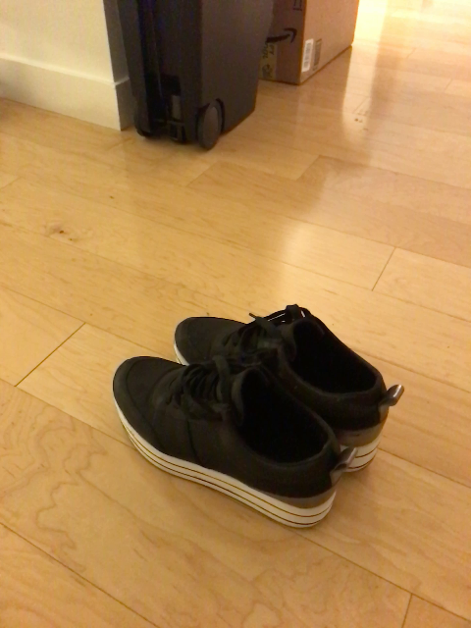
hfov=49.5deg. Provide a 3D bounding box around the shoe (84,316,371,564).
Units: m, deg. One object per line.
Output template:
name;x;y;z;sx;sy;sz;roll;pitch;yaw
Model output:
shoe;-0.013;0.113;0.505;0.250;0.099;0.101;23;46;23

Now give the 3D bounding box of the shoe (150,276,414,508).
shoe;0.041;0.073;0.555;0.250;0.099;0.111;27;48;26

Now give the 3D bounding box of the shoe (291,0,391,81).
shoe;1.465;-4.092;7.393;1.001;0.993;1.007;-8;43;-10
